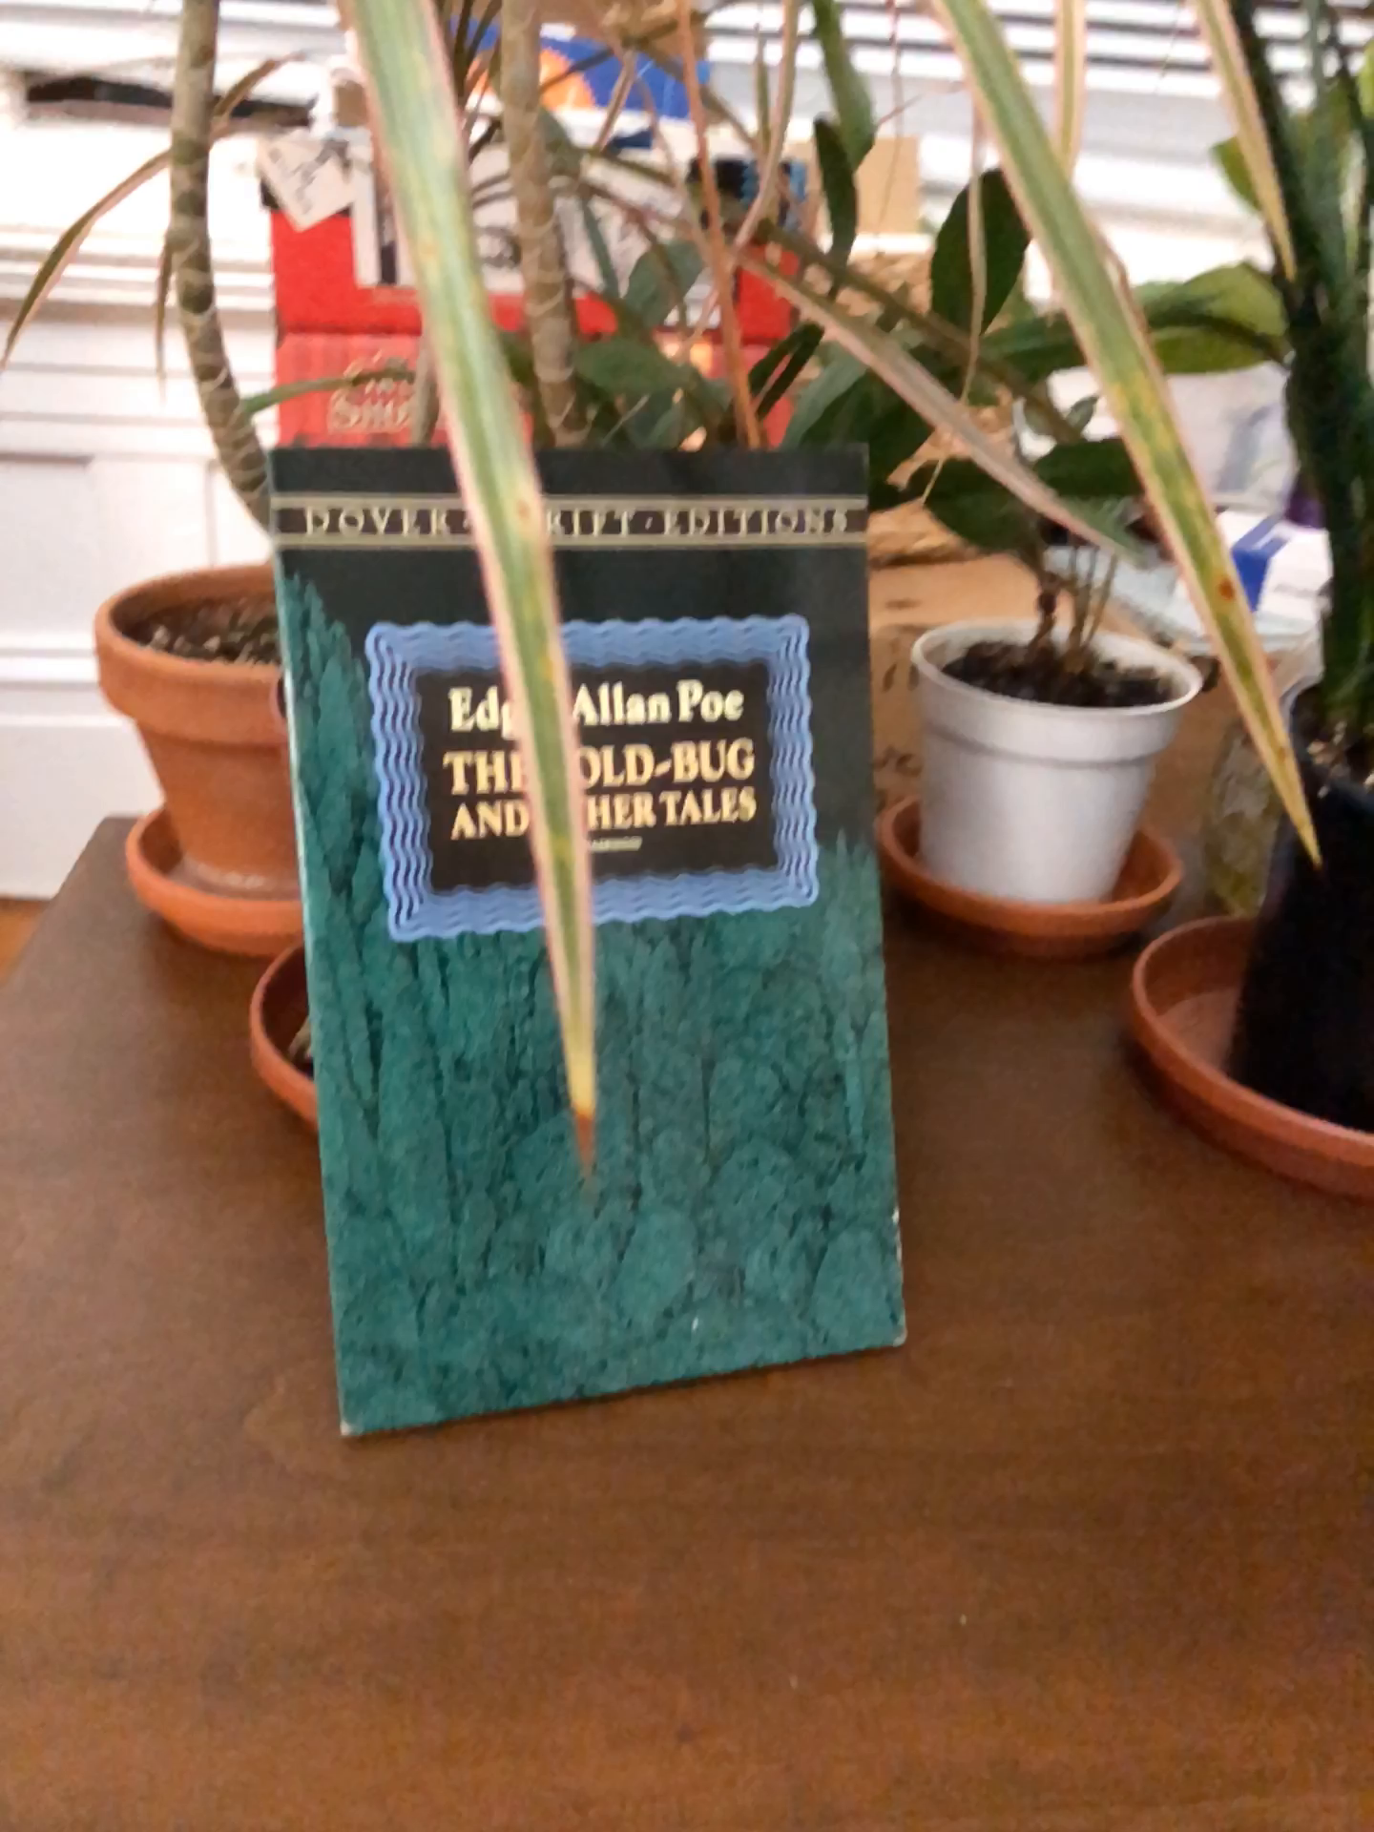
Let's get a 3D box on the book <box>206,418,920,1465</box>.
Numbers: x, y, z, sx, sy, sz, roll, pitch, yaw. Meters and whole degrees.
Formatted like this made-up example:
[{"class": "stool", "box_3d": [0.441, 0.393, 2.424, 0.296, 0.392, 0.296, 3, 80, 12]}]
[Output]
[{"class": "book", "box_3d": [-0.023, 0.001, 0.331, 0.140, 0.210, 0.020, -5, 5, -16]}]
